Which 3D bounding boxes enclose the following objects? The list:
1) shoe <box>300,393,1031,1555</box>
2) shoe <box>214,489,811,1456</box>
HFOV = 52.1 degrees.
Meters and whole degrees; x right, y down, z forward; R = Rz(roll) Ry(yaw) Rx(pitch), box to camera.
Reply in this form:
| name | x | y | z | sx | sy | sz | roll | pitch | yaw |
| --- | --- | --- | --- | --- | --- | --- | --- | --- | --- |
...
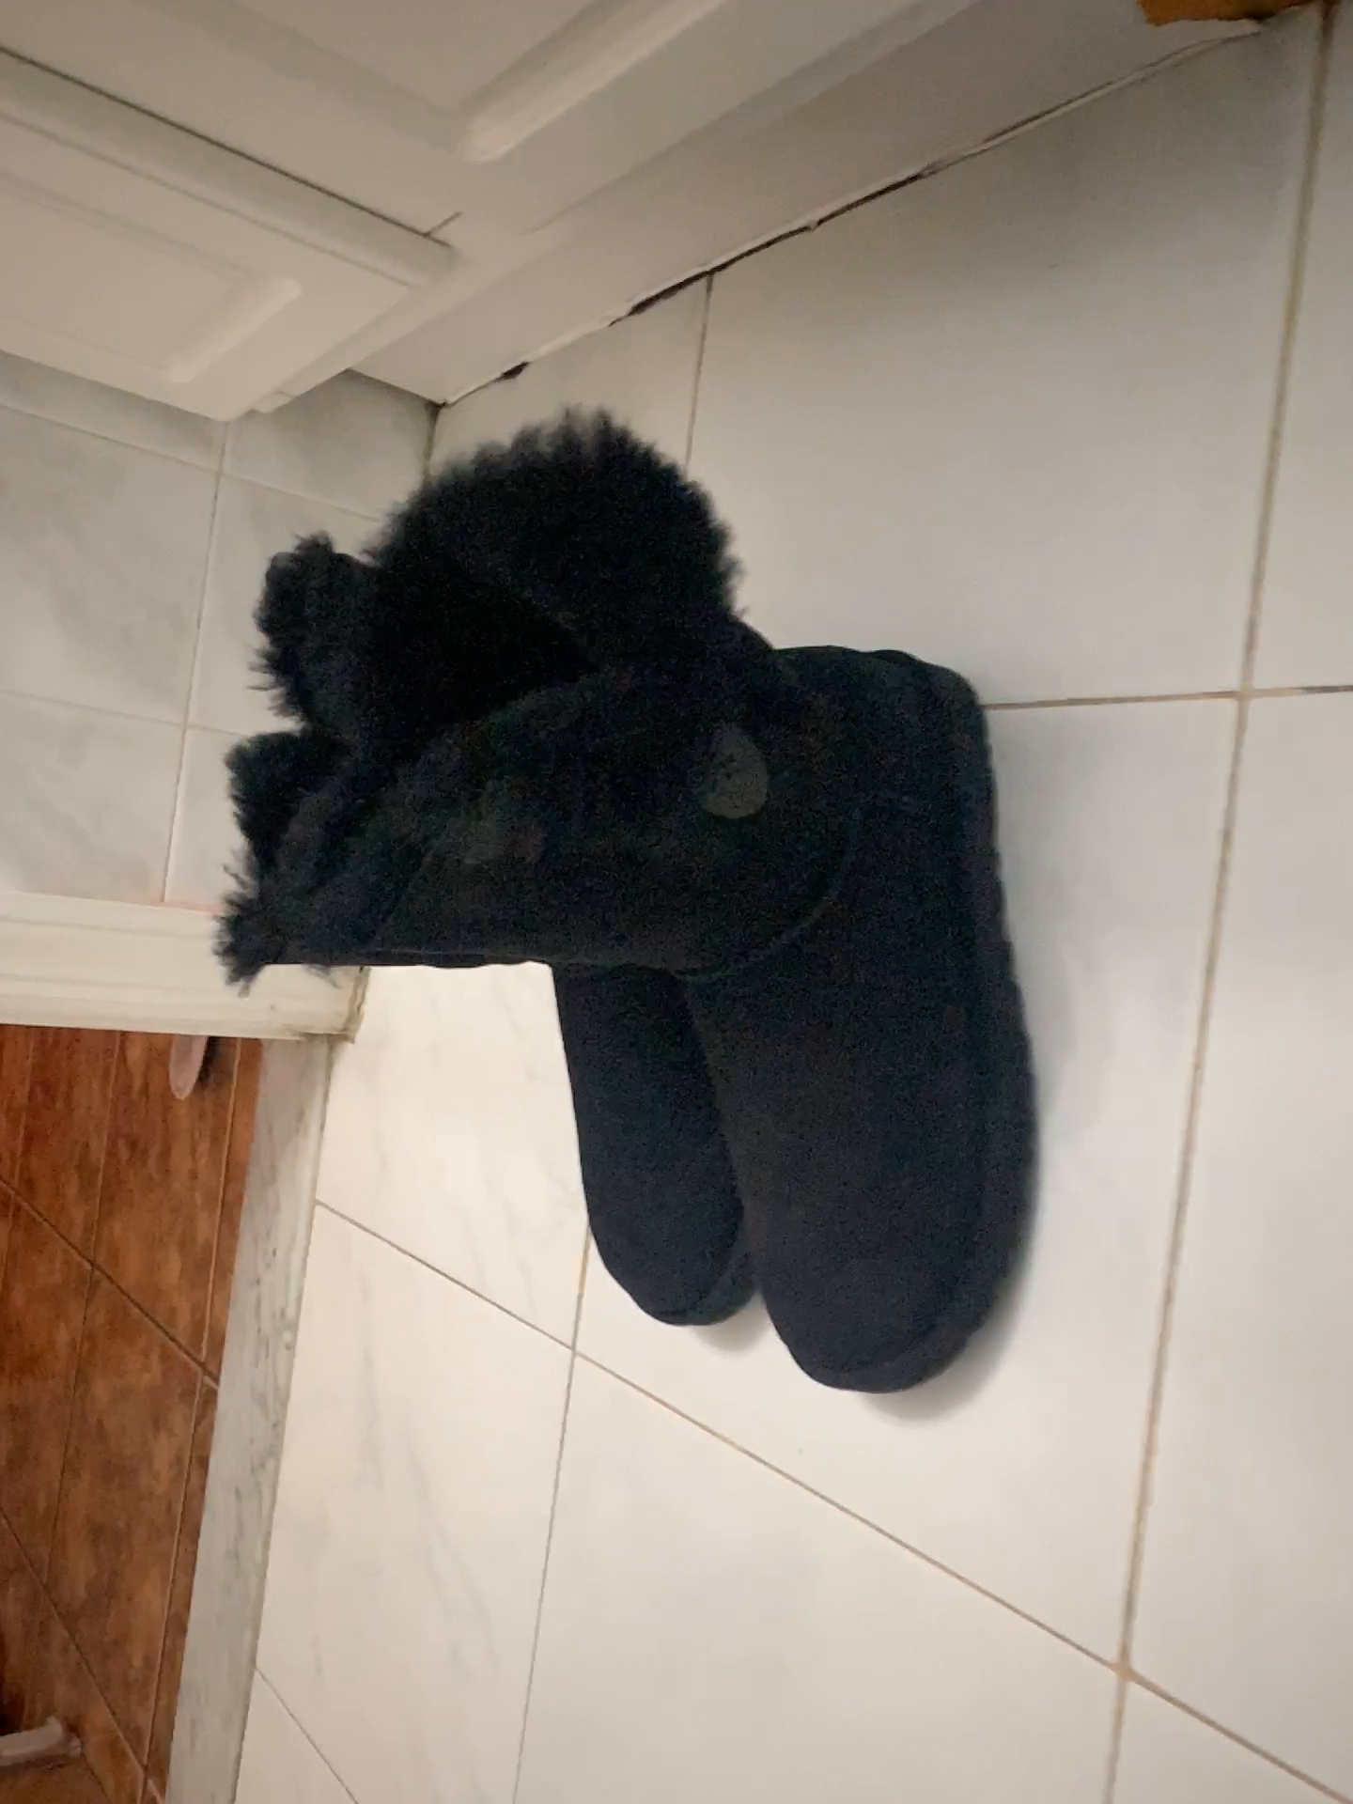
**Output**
| name | x | y | z | sx | sy | sz | roll | pitch | yaw |
| --- | --- | --- | --- | --- | --- | --- | --- | --- | --- |
| shoe | 0.002 | 0.025 | 0.432 | 0.111 | 0.189 | 0.280 | -10 | 76 | 51 |
| shoe | -0.058 | 0.030 | 0.509 | 0.121 | 0.169 | 0.290 | -14 | 73 | 51 |
